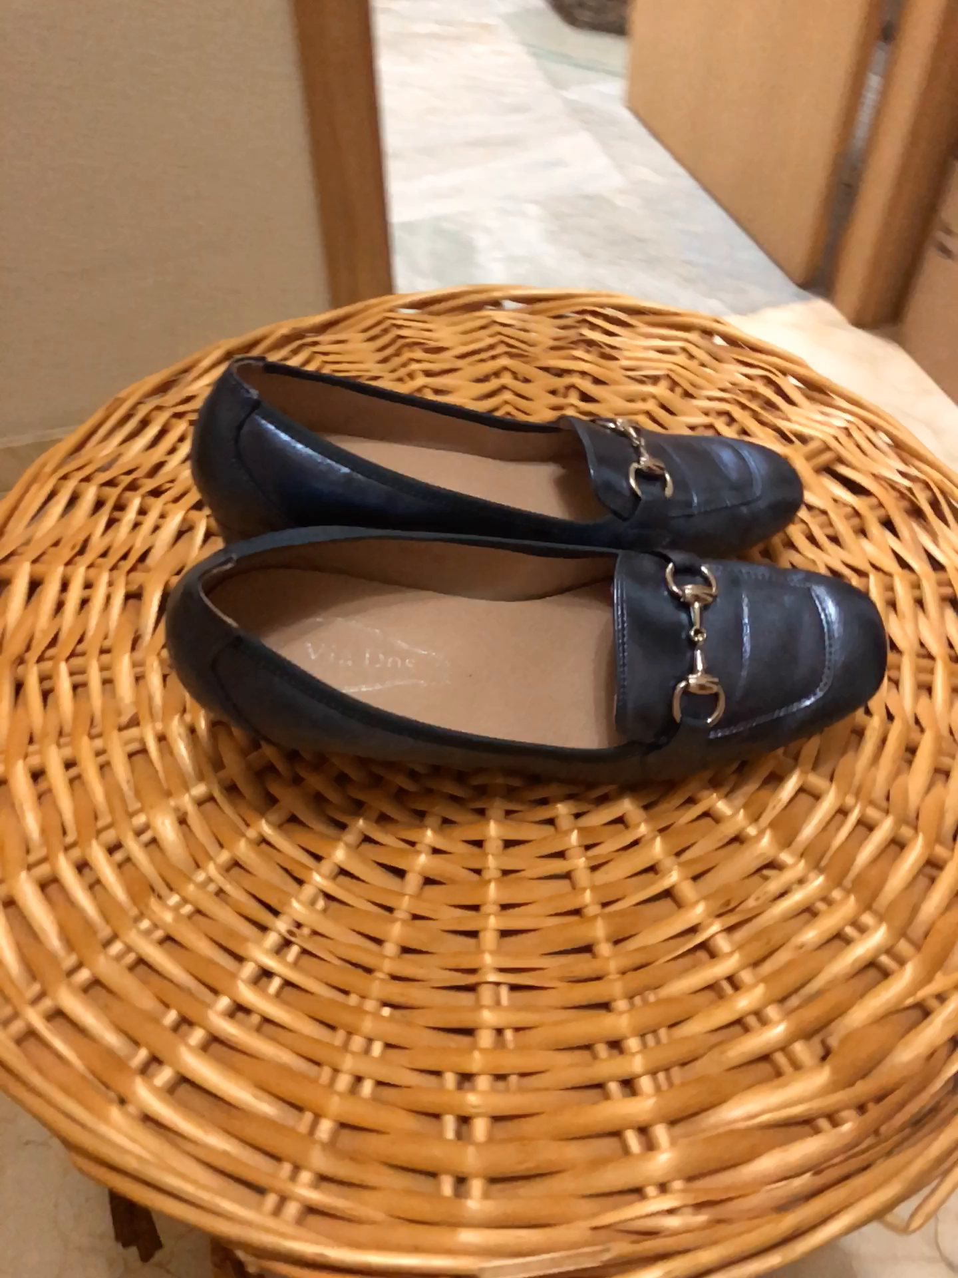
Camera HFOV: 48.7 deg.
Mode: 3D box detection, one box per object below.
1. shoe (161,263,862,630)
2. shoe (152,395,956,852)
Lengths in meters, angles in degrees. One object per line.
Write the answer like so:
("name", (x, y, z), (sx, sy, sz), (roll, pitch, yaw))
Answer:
("shoe", (0.007, -0.072, 0.437), (0.260, 0.090, 0.090), (2, 56, -15))
("shoe", (0.021, 0.003, 0.377), (0.250, 0.090, 0.100), (7, 56, -15))
